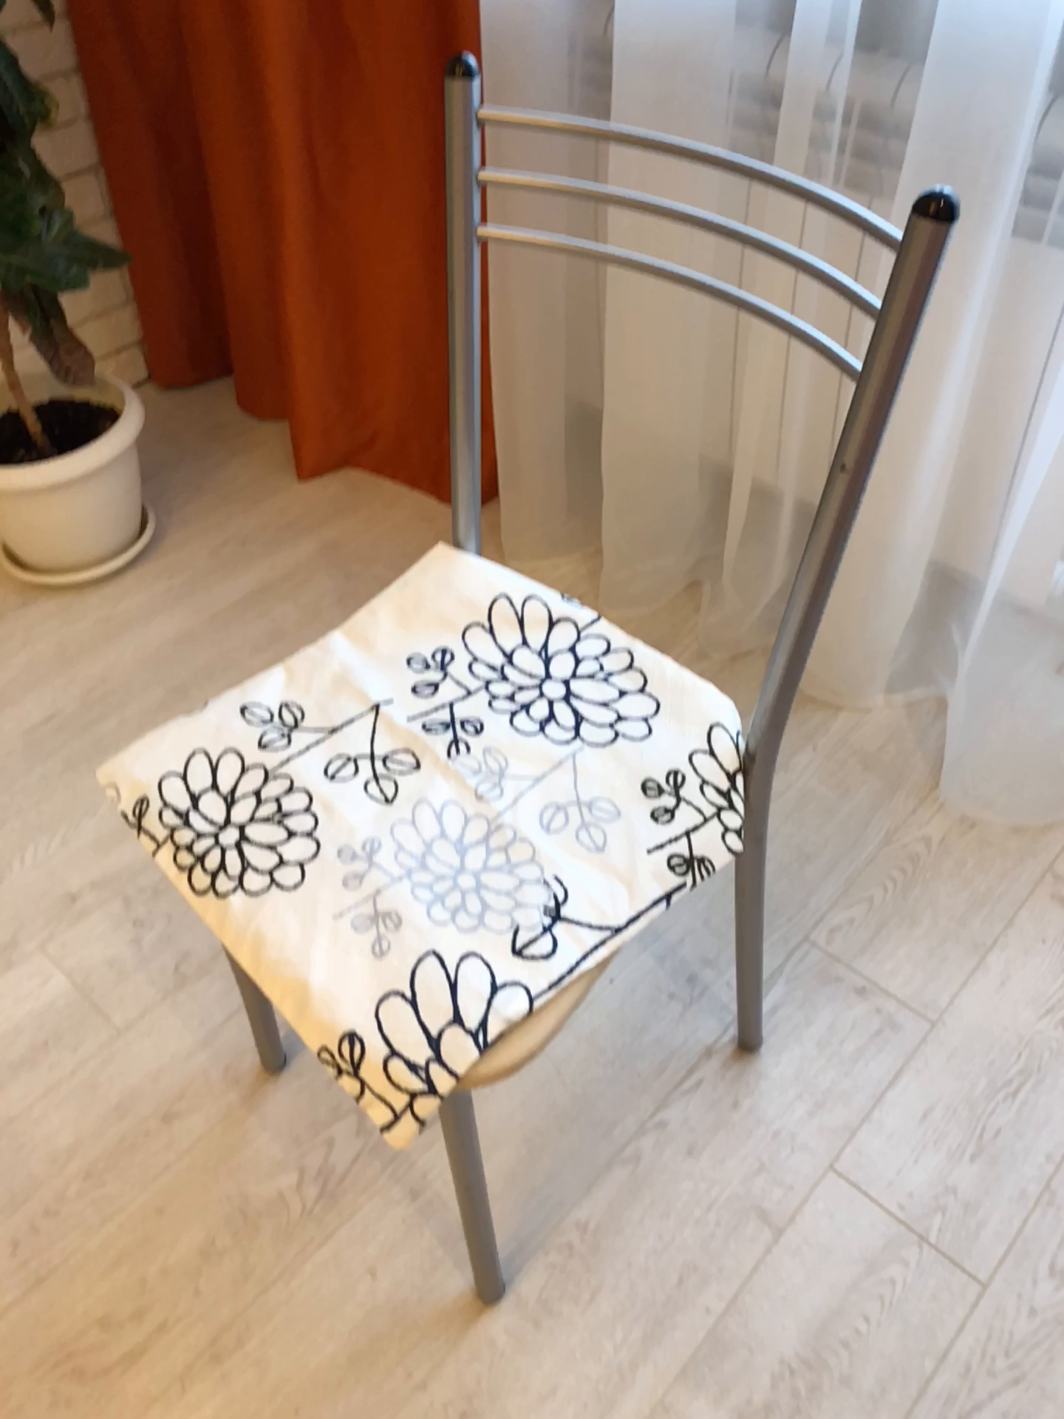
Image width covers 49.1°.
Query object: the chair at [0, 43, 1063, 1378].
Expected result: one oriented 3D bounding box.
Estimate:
[{"bbox_3d":[-0.018,0.038,0.867,0.421,0.794,0.442,32,54,30],"label":"chair"}]
